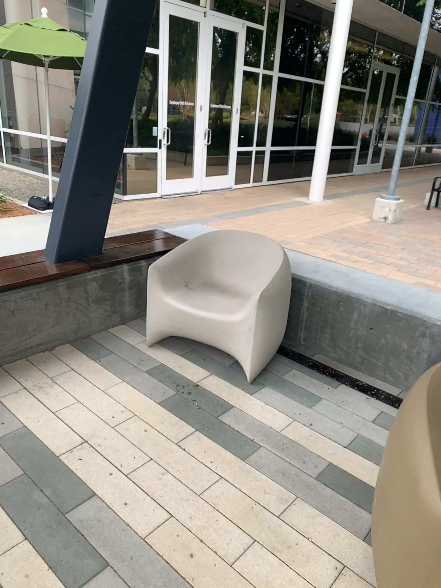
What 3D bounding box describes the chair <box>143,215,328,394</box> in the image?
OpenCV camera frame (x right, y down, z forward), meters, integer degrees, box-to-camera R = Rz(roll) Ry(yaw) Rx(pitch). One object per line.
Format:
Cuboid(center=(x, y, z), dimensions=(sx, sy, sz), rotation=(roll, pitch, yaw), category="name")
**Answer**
Cuboid(center=(0.115, -0.003, 3.320), dimensions=(0.982, 0.786, 0.923), rotation=(18, 27, 22), category="chair")
